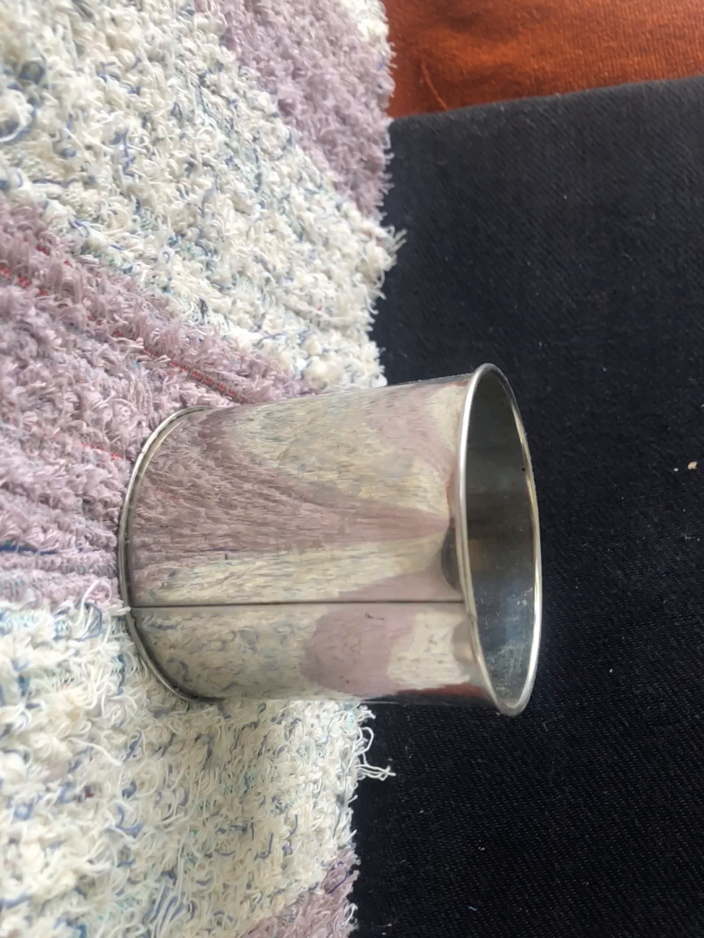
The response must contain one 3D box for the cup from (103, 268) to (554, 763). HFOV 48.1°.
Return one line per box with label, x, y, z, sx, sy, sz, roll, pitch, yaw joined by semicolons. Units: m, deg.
cup;0.002;0.015;0.193;0.081;0.079;0.090;25;63;-65
